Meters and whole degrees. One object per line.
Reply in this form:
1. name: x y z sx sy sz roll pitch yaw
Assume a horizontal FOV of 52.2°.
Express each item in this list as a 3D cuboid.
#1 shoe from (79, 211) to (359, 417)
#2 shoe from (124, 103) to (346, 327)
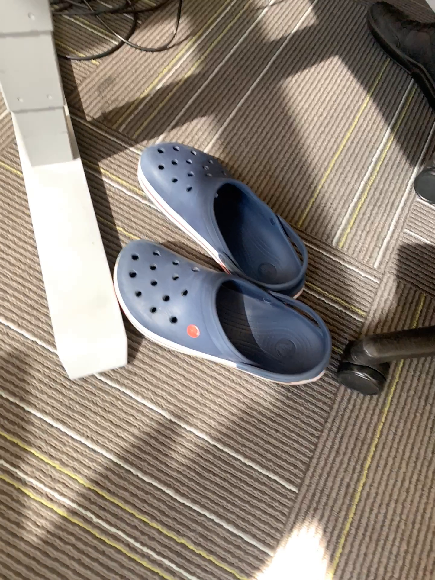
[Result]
1. shoe: 0.003 0.033 0.591 0.330 0.080 0.130 25 65 1
2. shoe: 0.016 -0.115 0.655 0.130 0.080 0.320 -38 78 -22
